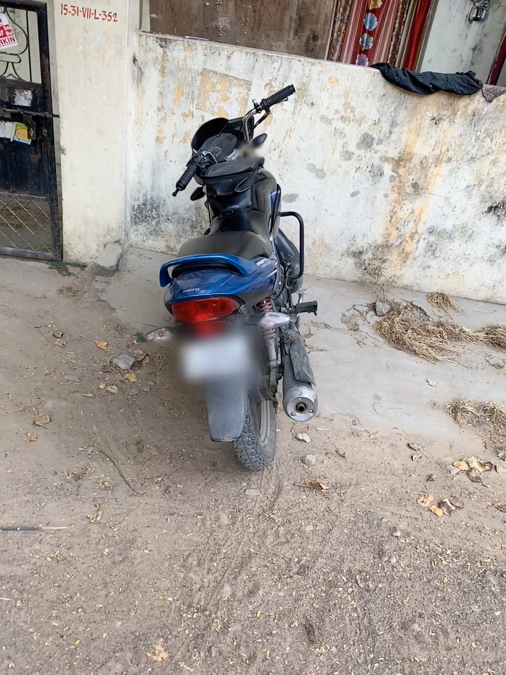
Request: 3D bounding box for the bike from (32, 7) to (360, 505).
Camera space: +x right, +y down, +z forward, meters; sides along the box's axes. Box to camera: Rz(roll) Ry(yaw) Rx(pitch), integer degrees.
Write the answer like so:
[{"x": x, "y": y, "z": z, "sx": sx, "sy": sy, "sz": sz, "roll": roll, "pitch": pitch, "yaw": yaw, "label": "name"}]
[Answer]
[{"x": -0.296, "y": -0.519, "z": 2.168, "sx": 0.754, "sy": 1.233, "sz": 1.713, "roll": 5, "pitch": 34, "yaw": -8, "label": "bike"}]
